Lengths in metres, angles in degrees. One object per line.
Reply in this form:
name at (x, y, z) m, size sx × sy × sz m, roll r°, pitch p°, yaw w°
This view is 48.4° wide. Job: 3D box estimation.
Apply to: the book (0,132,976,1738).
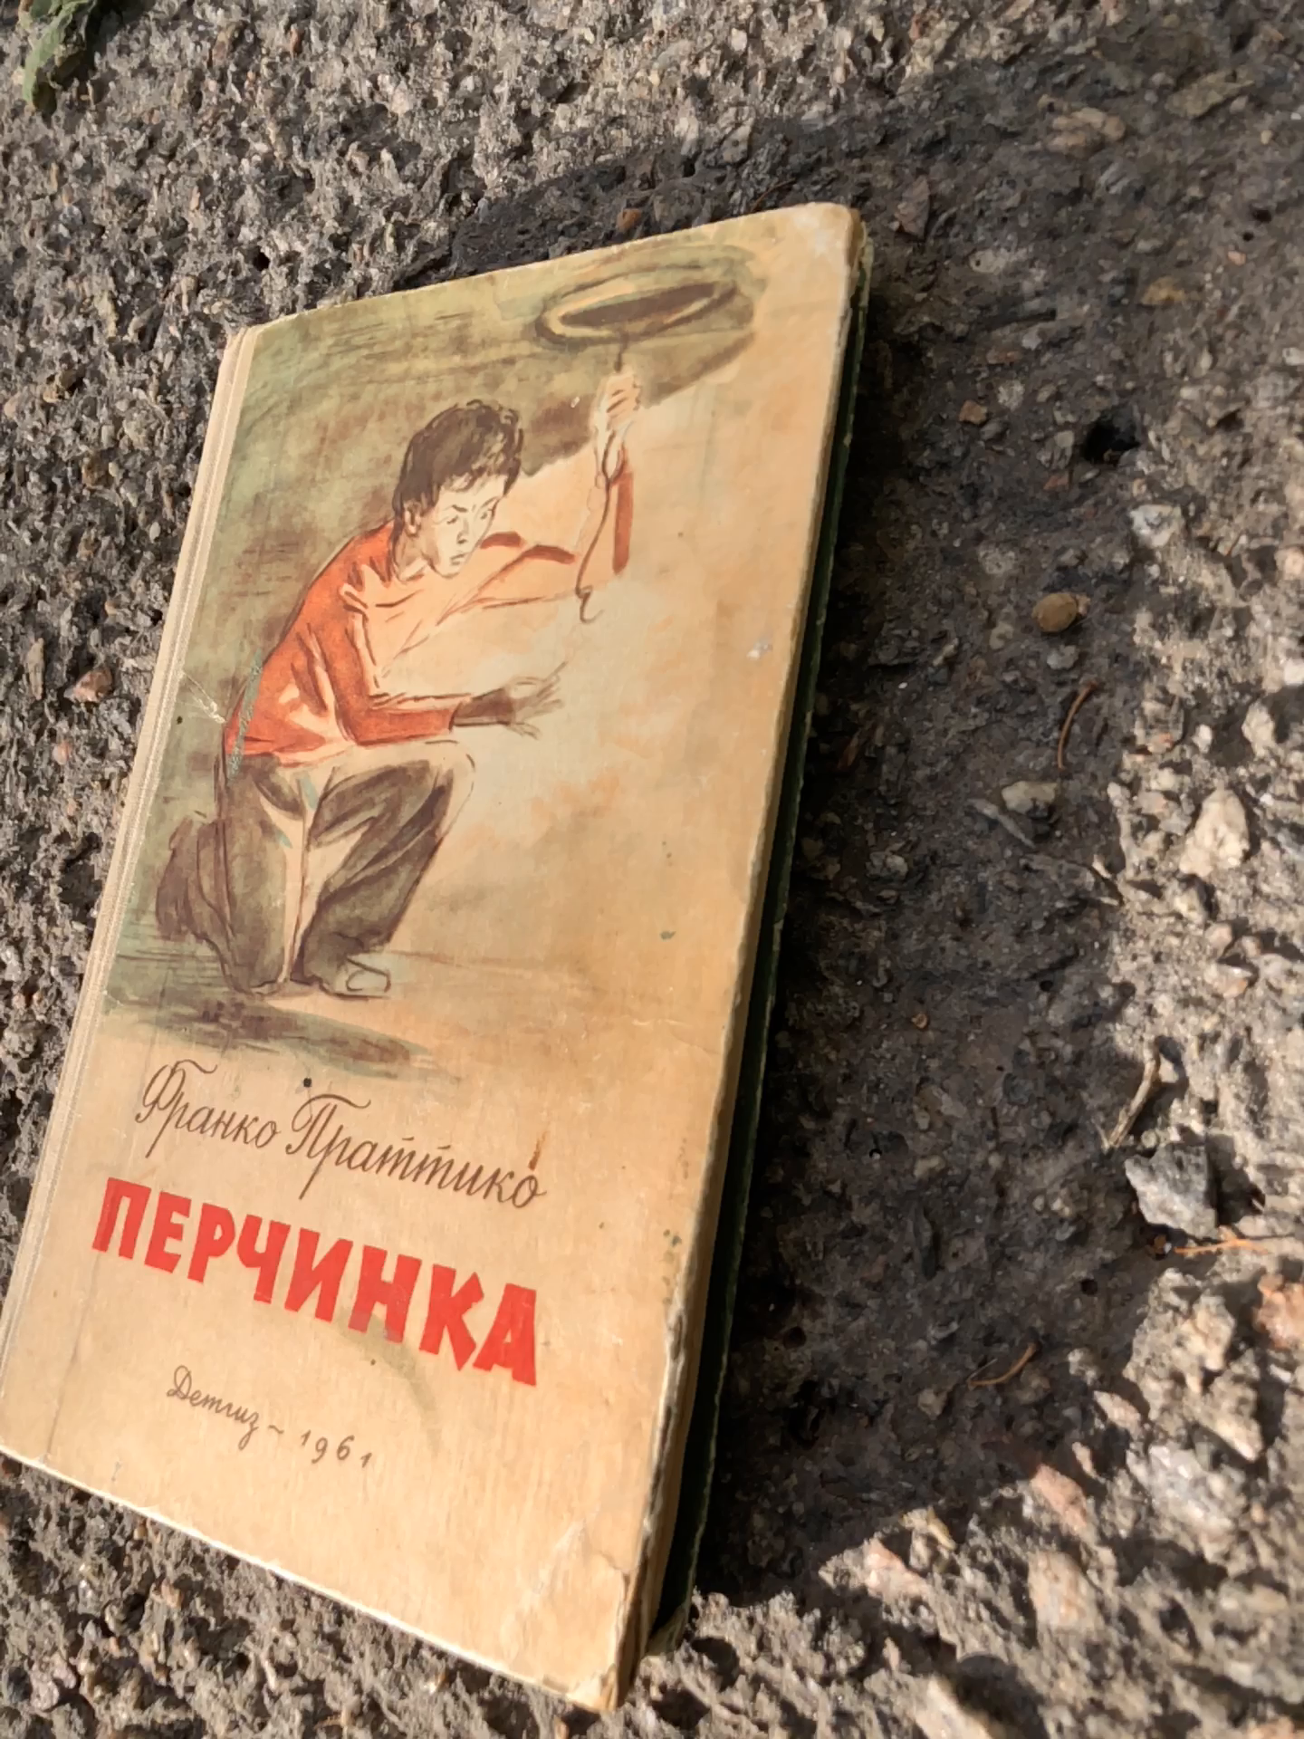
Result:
book at (-0.033, 0.000, 0.222) m, size 0.132 × 0.030 × 0.203 m, roll 5°, pitch 80°, yaw 31°
